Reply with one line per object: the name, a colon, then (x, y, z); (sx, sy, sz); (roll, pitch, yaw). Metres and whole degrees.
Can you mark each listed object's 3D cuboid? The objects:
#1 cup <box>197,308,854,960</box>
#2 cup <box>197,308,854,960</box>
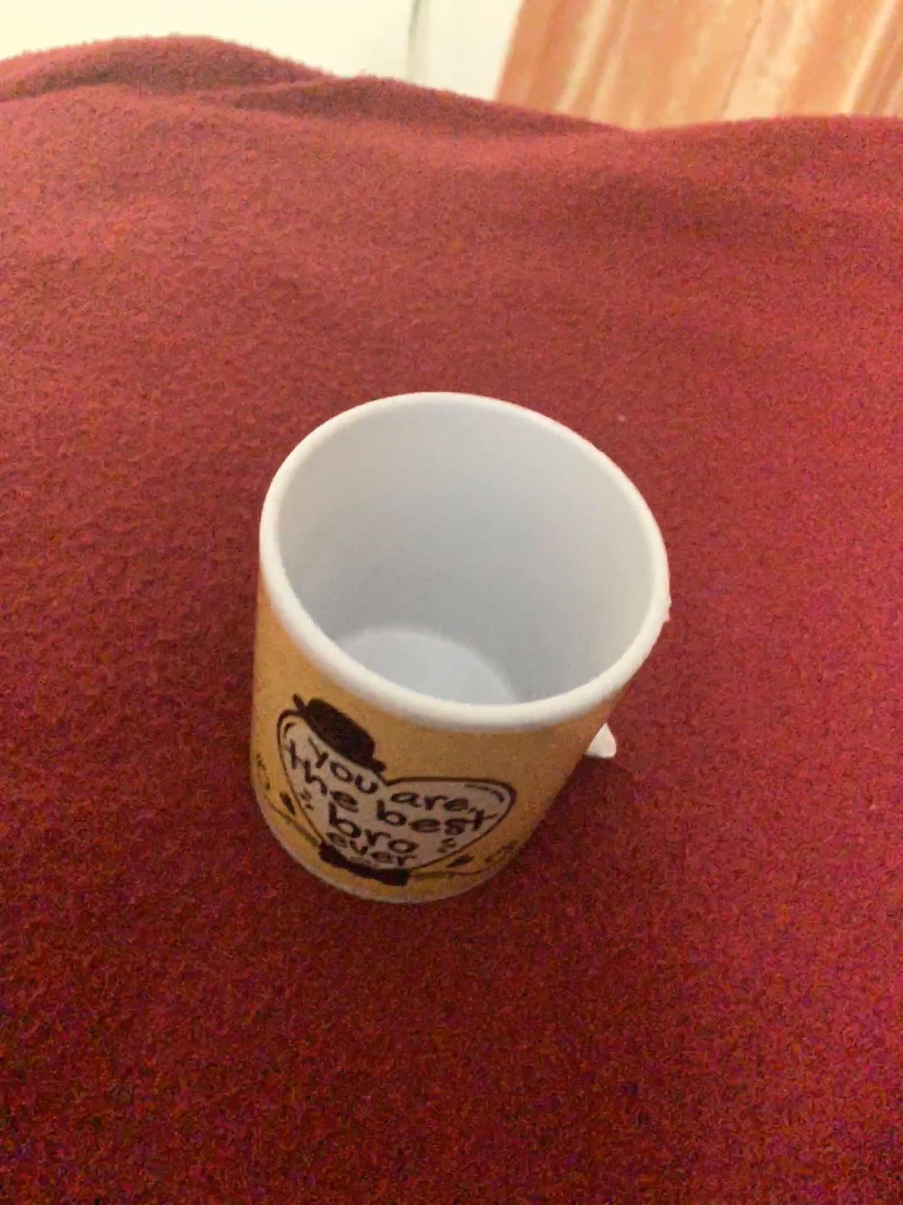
cup: (0.009, 0.013, 0.221); (0.110, 0.109, 0.081); (13, 49, -2)
cup: (0.009, 0.013, 0.221); (0.110, 0.109, 0.081); (13, 49, -2)
